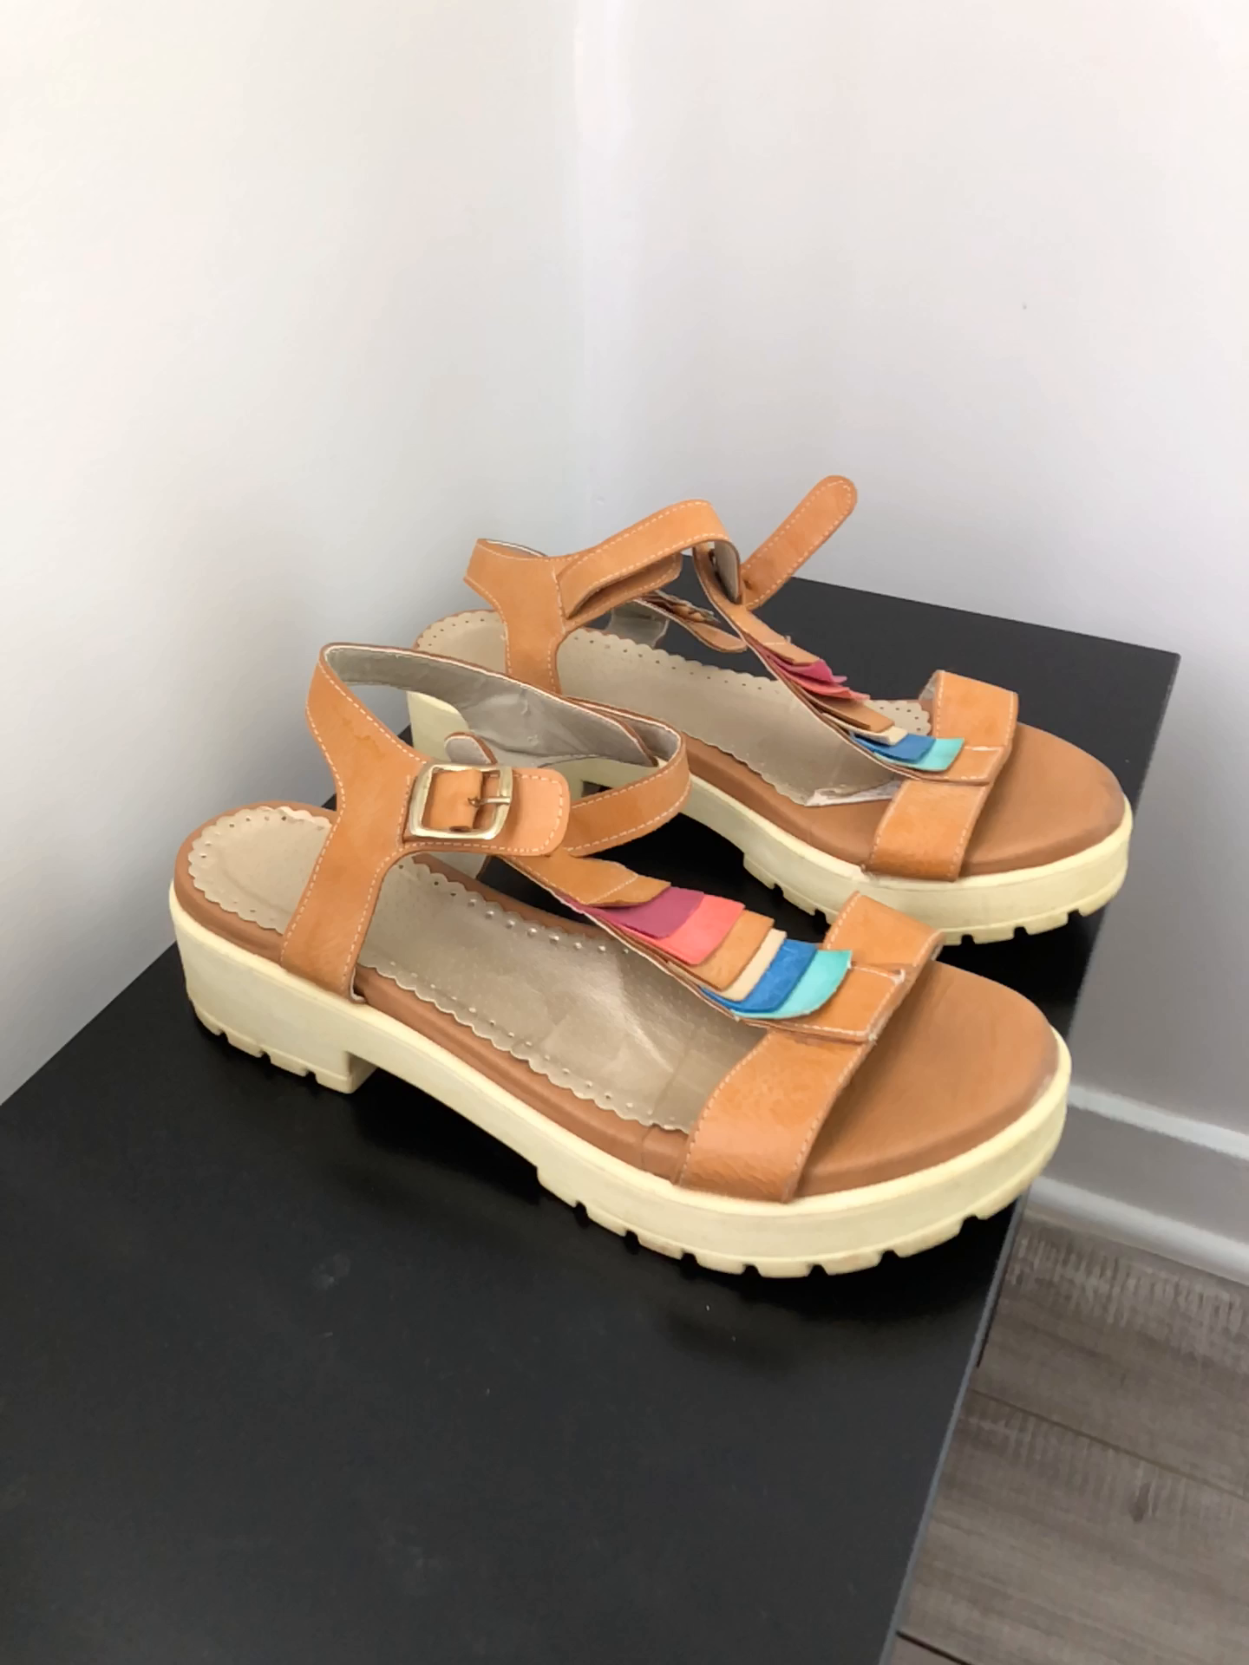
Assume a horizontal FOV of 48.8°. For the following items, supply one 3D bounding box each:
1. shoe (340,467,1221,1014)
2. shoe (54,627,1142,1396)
[{"bbox_3d":[0.045,-0.041,0.442,0.248,0.077,0.100,17,40,21],"label":"shoe"},{"bbox_3d":[-0.010,0.032,0.361,0.248,0.083,0.100,17,40,21],"label":"shoe"}]
